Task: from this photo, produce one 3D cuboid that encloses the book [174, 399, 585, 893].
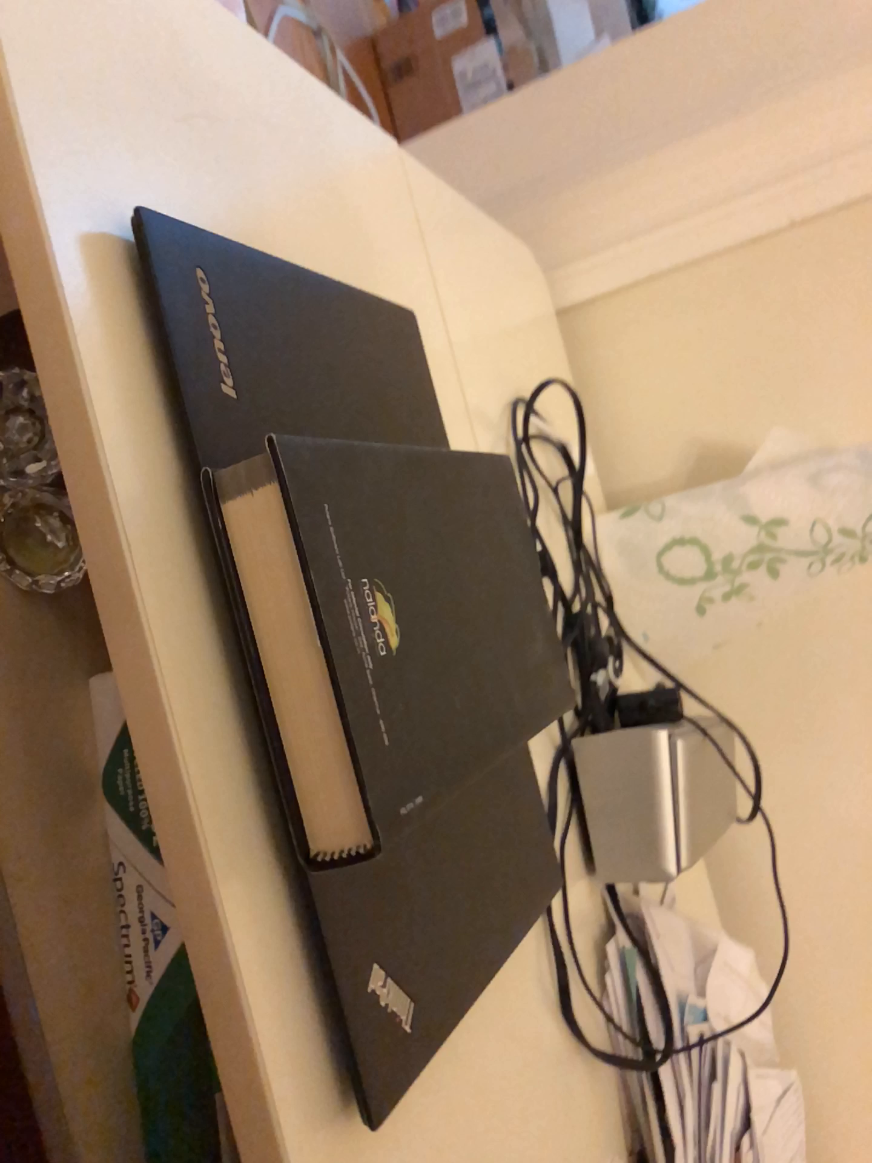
[{"bbox_3d":[-0.003,0.011,0.407,0.231,0.040,0.150,-13,88,-67],"label":"book"}]
